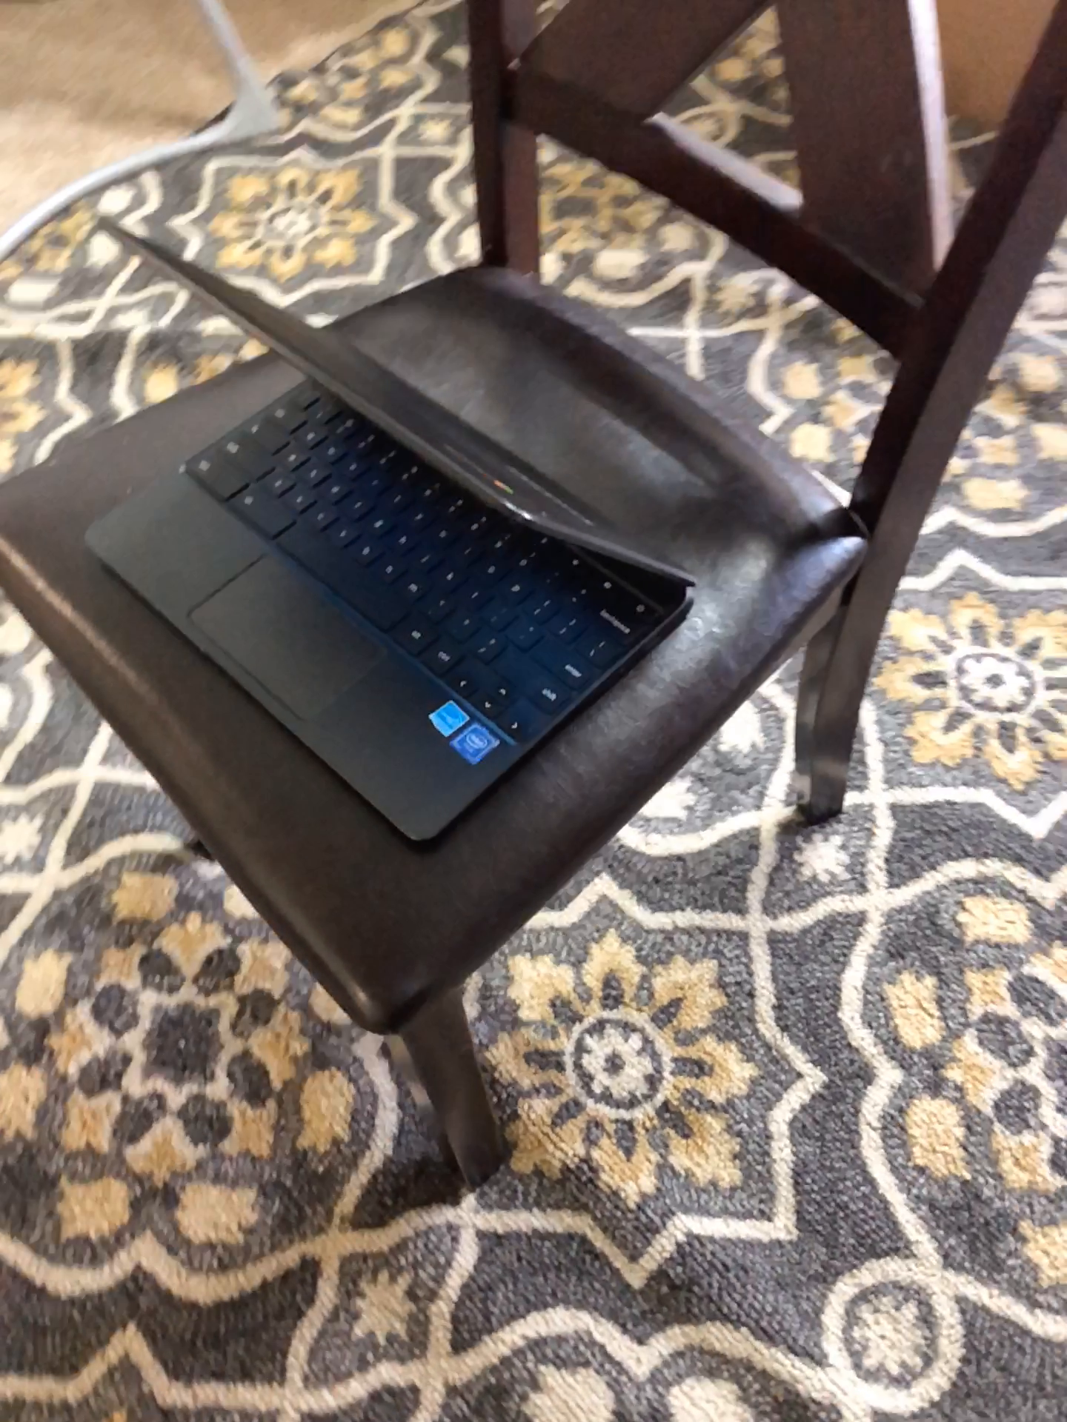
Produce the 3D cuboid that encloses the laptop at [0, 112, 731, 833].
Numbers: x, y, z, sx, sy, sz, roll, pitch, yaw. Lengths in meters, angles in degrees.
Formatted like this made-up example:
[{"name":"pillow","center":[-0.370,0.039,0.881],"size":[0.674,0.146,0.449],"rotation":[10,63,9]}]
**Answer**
[{"name":"laptop","center":[-0.079,-0.120,0.561],"size":[0.263,0.155,0.191],"rotation":[39,68,23]}]
